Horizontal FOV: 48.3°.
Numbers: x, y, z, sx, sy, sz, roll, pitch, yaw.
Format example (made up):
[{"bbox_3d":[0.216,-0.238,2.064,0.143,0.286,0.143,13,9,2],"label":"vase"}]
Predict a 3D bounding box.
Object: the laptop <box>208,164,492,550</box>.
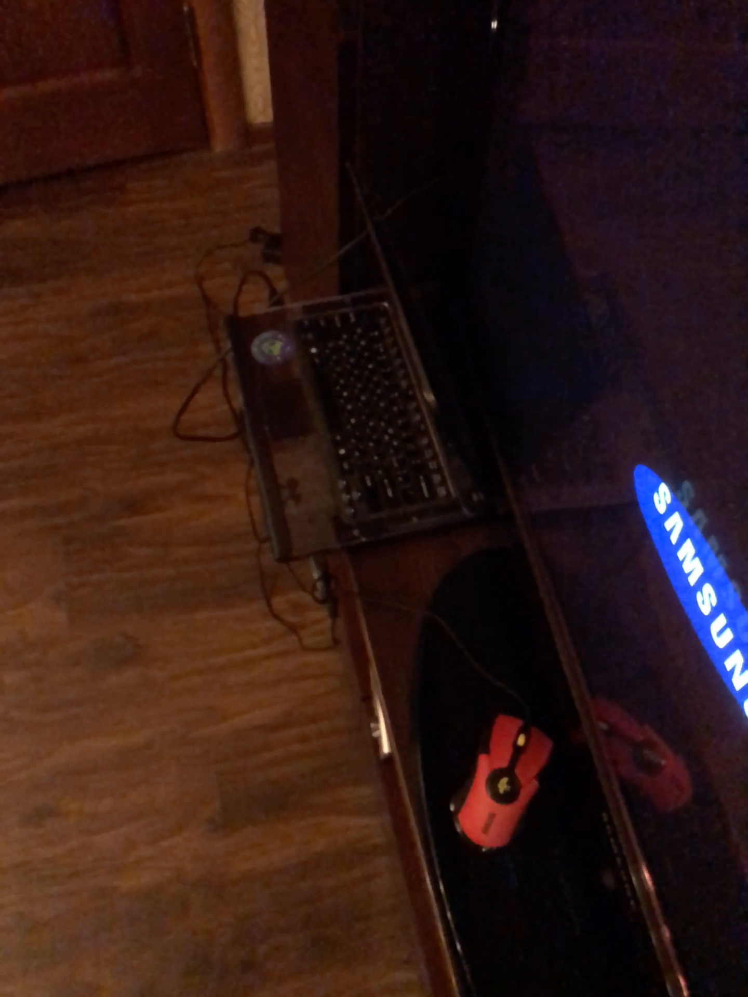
[{"bbox_3d":[-0.038,-0.154,0.875,0.200,0.183,0.336,-11,59,-9],"label":"laptop"}]
